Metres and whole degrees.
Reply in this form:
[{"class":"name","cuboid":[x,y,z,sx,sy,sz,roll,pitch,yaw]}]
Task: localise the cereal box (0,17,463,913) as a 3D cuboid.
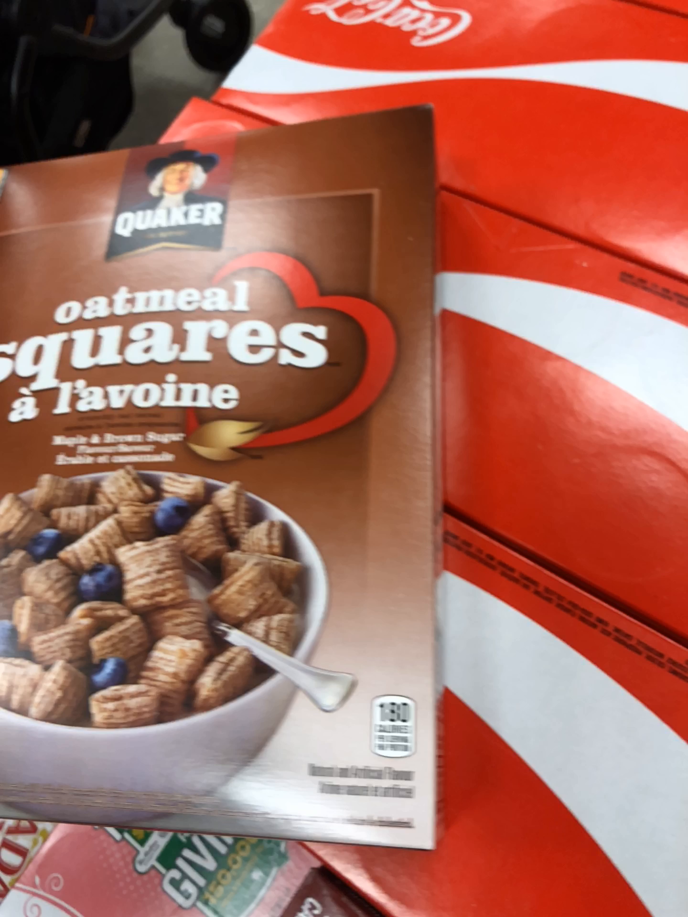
[{"class":"cereal box","cuboid":[-0.081,-0.014,0.284,0.240,0.050,0.290,-2,69,13]}]
